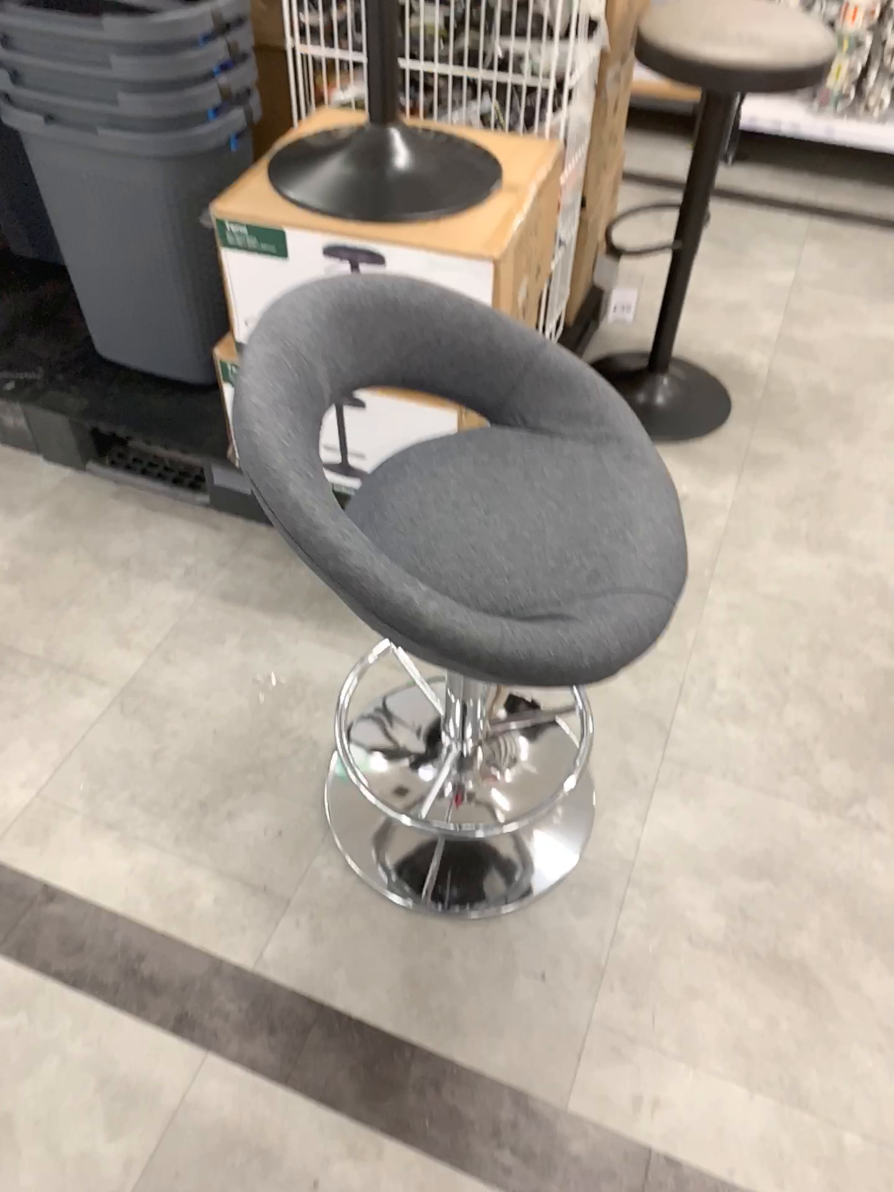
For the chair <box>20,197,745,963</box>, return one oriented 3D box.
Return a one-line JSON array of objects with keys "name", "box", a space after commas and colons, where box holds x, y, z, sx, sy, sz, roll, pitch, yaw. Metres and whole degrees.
[{"name": "chair", "box": [-0.013, -0.019, 1.155, 0.592, 0.664, 0.577, 10, 47, 8]}]
